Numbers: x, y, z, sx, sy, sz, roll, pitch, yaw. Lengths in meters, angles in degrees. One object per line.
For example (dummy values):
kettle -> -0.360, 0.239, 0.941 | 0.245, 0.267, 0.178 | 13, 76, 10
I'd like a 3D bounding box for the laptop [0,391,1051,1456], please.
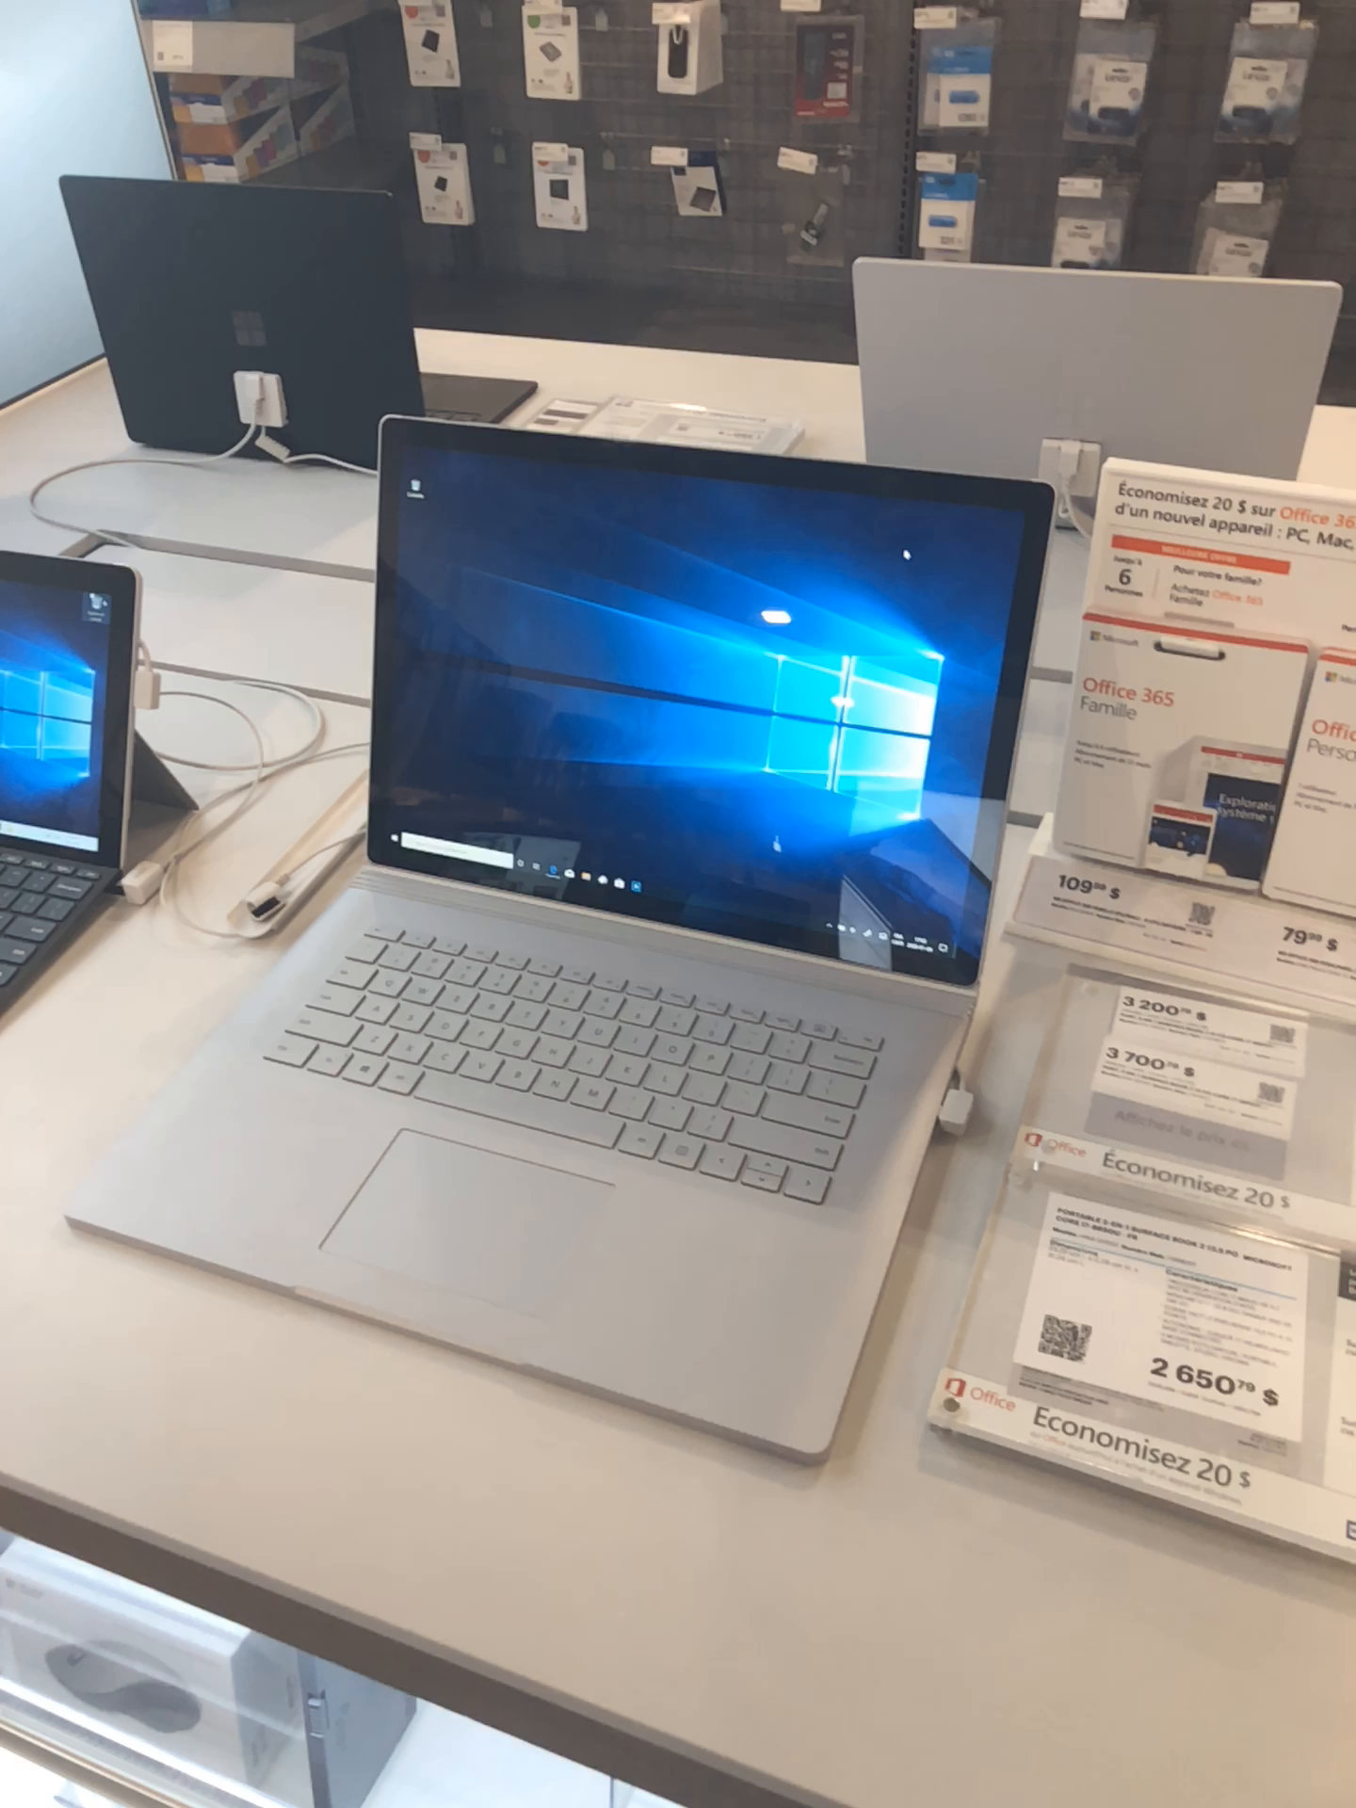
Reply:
laptop -> -0.049, -0.033, 0.655 | 0.339, 0.207, 0.366 | 12, 43, 17
